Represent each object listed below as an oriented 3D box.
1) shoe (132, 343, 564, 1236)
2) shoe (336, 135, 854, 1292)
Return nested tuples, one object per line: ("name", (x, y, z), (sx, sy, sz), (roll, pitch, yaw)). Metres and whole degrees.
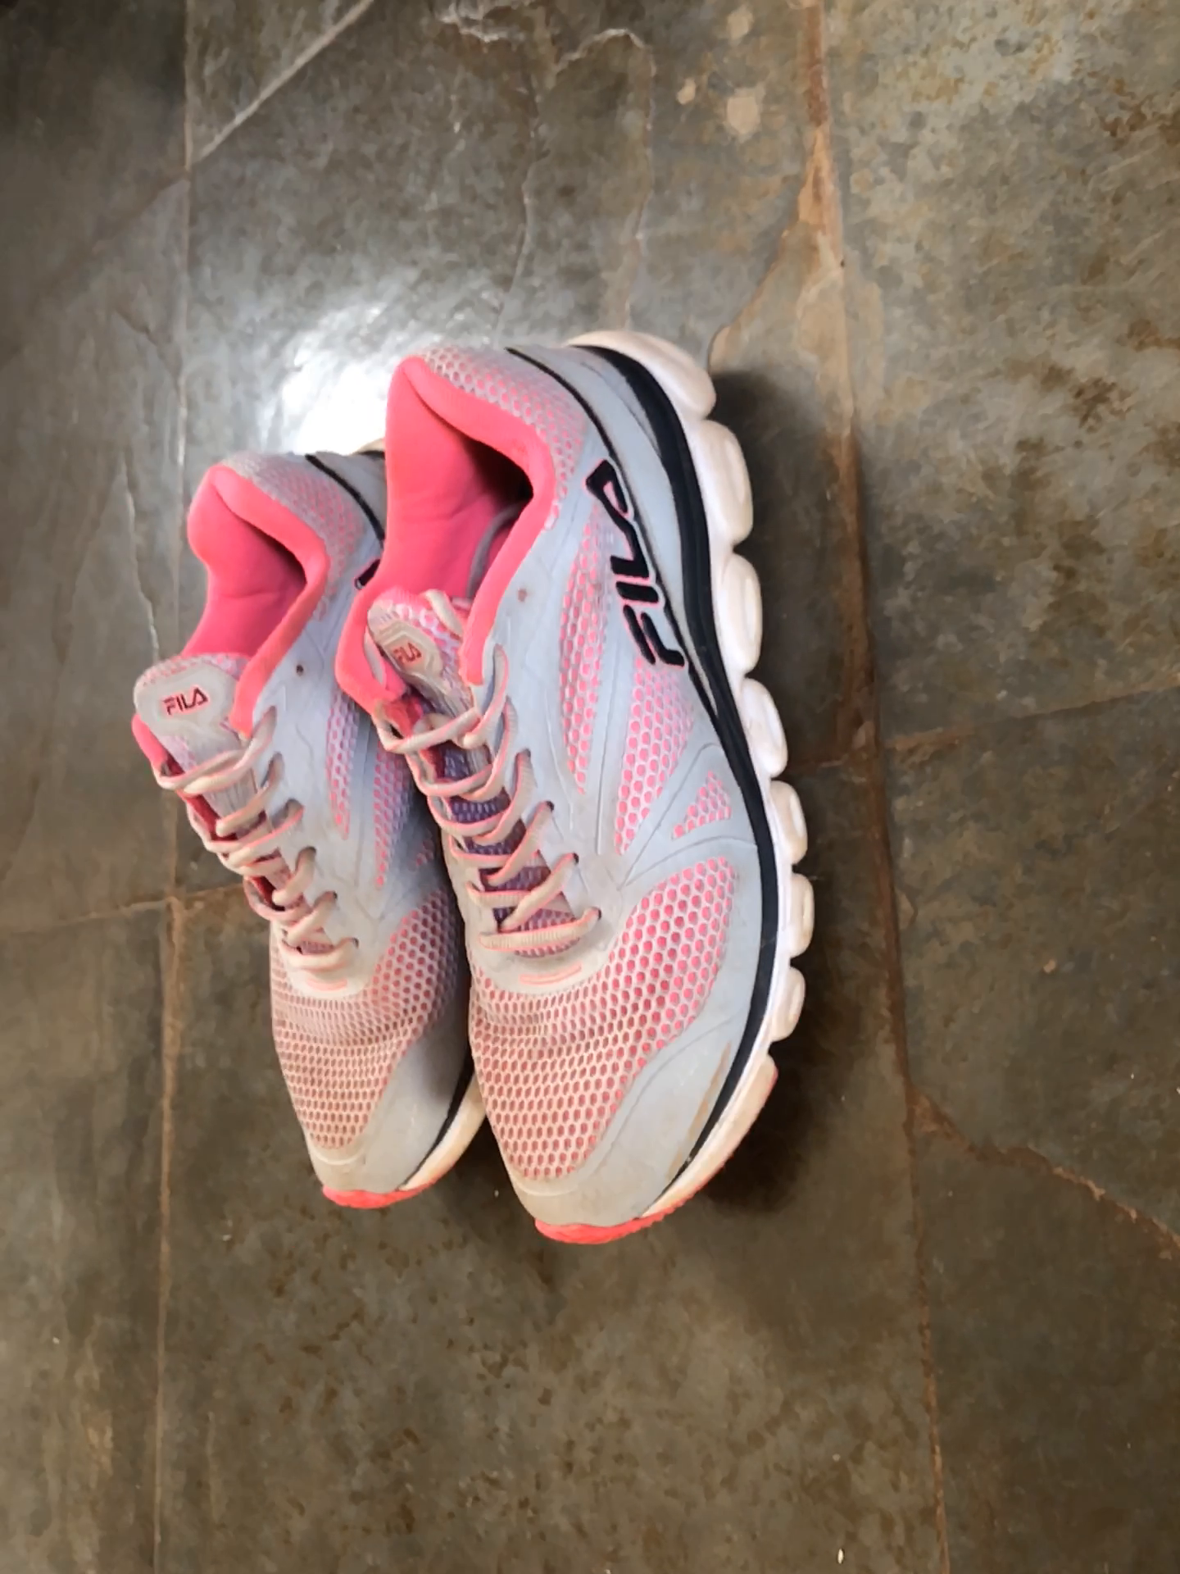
("shoe", (-0.092, 0.005, 0.479), (0.110, 0.100, 0.280), (-12, 78, 43))
("shoe", (-0.002, -0.017, 0.397), (0.110, 0.100, 0.290), (-8, 81, 44))
